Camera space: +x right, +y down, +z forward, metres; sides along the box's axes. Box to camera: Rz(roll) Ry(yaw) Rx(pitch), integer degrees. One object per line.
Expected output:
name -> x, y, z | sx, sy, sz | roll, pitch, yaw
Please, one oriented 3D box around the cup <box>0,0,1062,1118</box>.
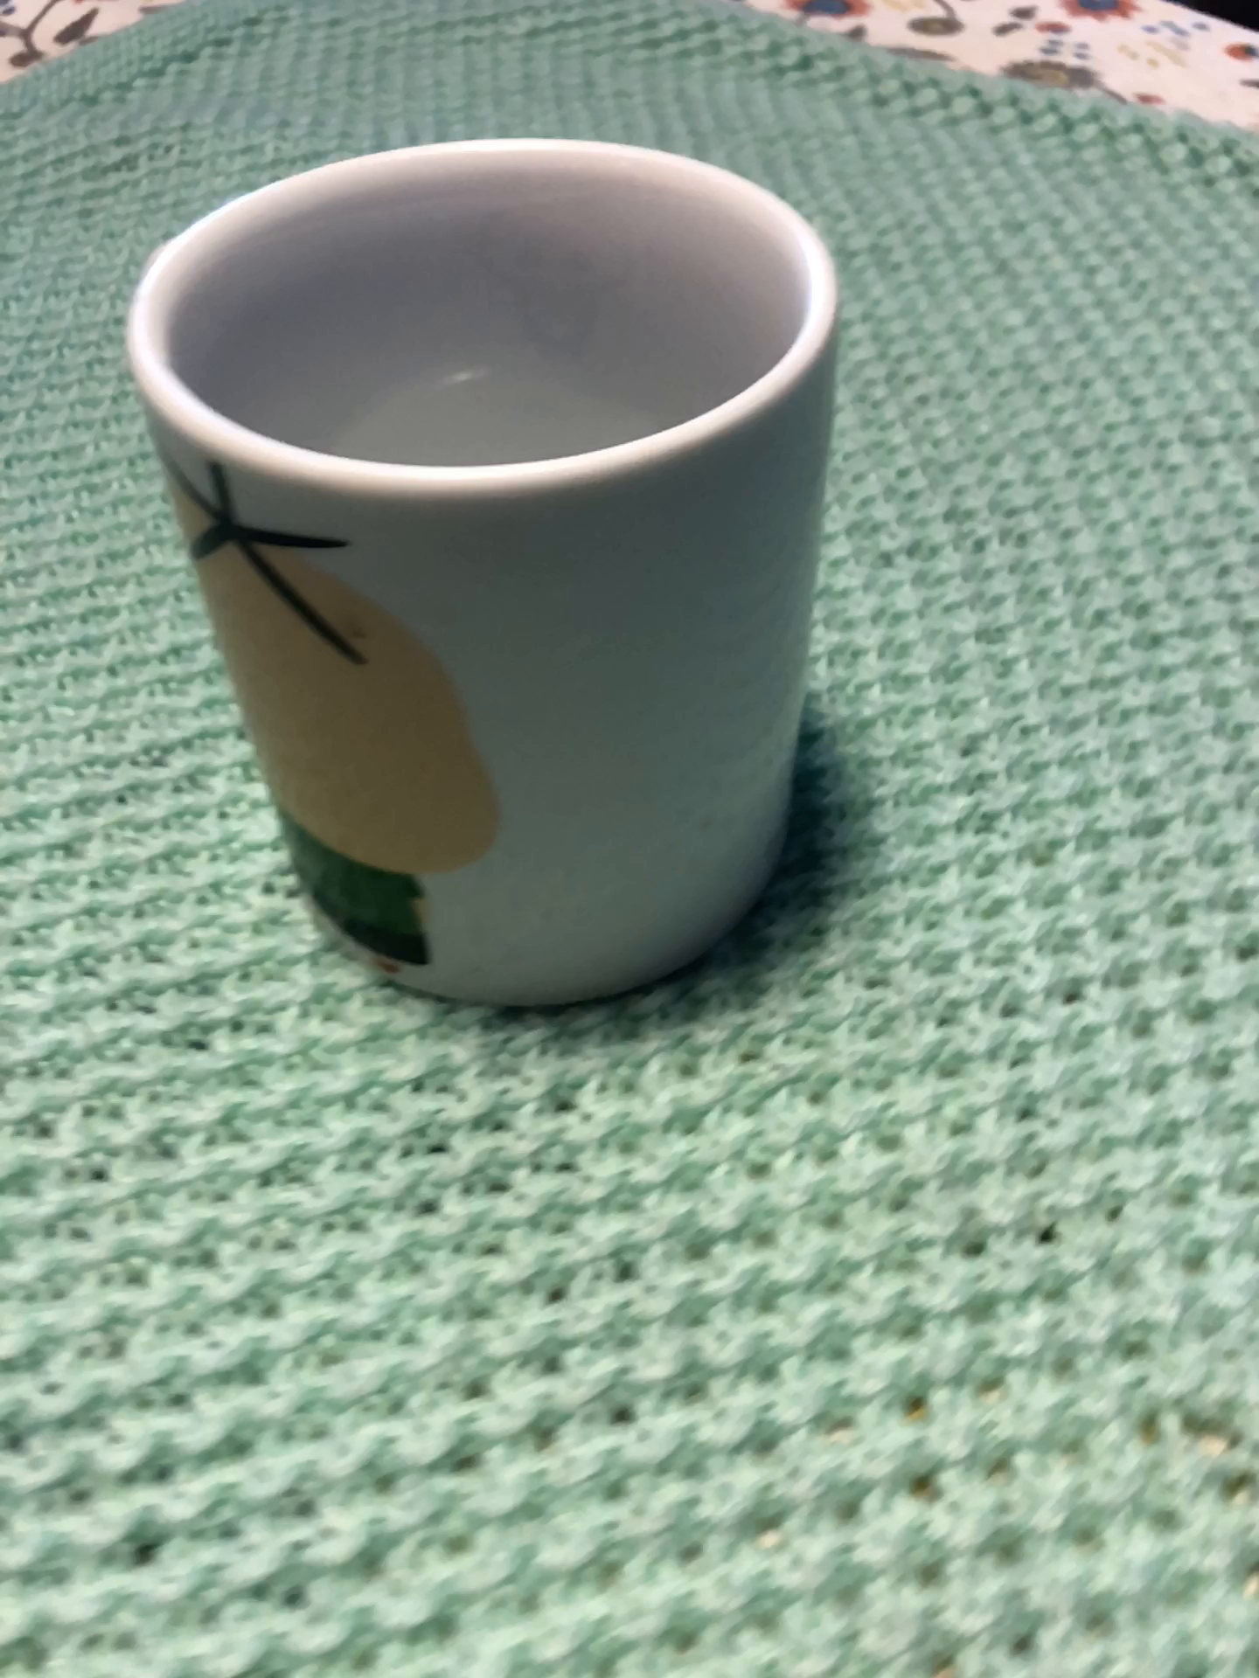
cup -> -0.024, -0.051, 0.222 | 0.090, 0.099, 0.130 | -37, 57, -28
